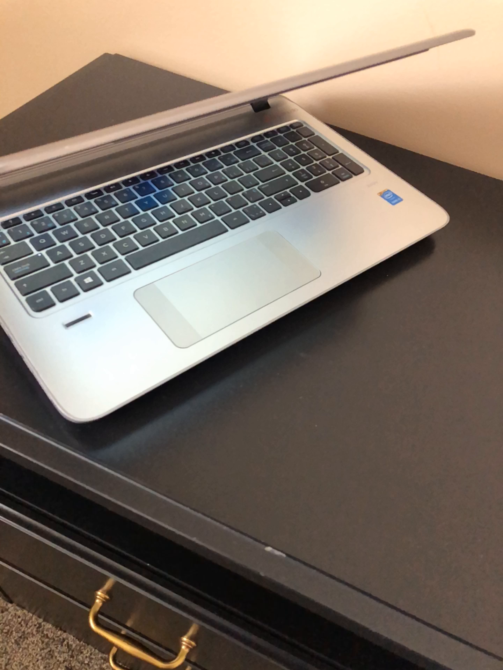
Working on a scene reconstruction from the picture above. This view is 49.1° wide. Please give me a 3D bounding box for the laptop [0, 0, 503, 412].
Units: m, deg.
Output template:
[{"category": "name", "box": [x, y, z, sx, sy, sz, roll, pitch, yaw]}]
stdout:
[{"category": "laptop", "box": [-0.026, -0.148, 0.407, 0.356, 0.153, 0.228, -29, 60, -28]}]
